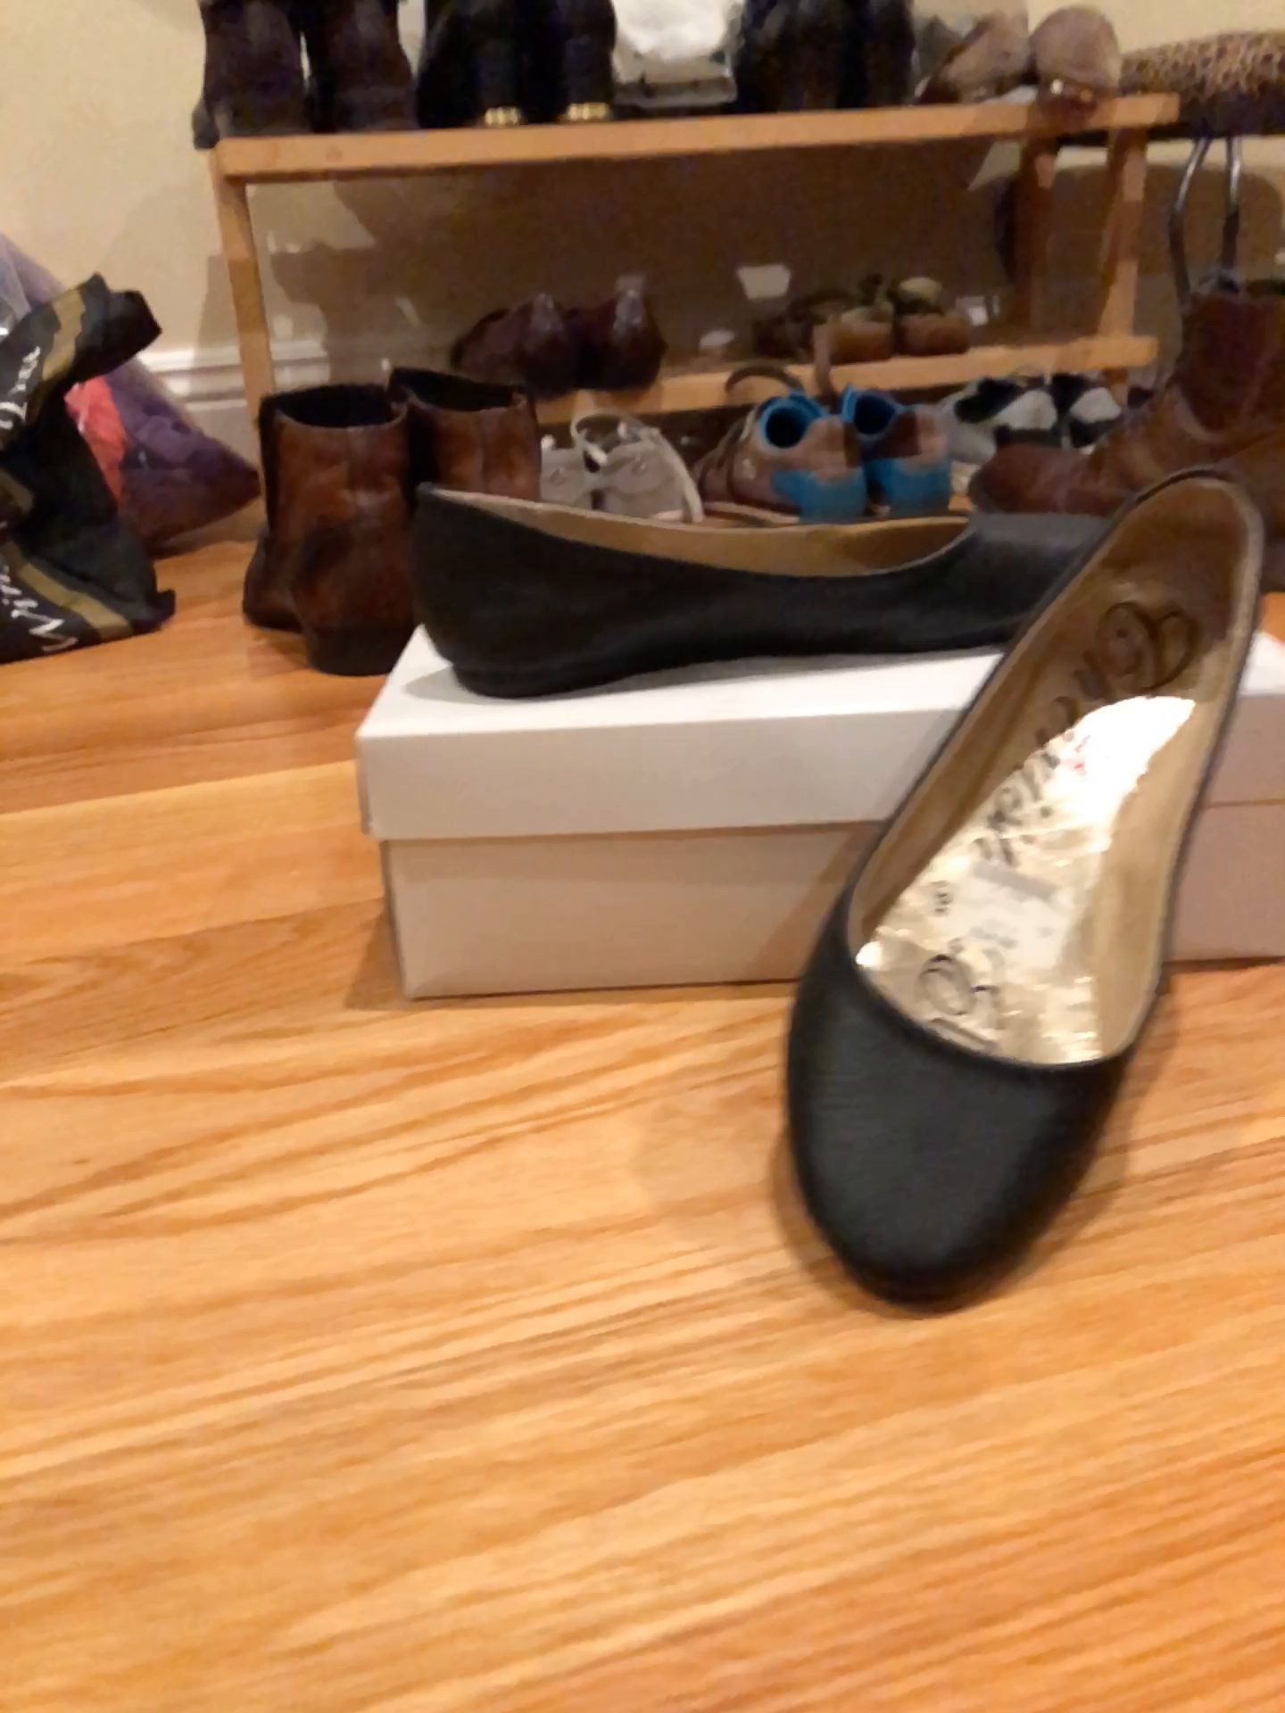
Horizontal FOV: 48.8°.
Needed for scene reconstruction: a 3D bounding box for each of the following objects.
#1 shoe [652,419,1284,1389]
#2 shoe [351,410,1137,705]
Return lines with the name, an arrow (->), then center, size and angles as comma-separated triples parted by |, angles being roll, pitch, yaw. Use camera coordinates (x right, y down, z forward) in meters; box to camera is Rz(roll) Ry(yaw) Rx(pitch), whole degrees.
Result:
shoe -> 0.095, 0.003, 0.367 | 0.076, 0.060, 0.240 | 23, 69, 19
shoe -> 0.030, -0.103, 0.468 | 0.239, 0.060, 0.076 | -7, 24, -6
